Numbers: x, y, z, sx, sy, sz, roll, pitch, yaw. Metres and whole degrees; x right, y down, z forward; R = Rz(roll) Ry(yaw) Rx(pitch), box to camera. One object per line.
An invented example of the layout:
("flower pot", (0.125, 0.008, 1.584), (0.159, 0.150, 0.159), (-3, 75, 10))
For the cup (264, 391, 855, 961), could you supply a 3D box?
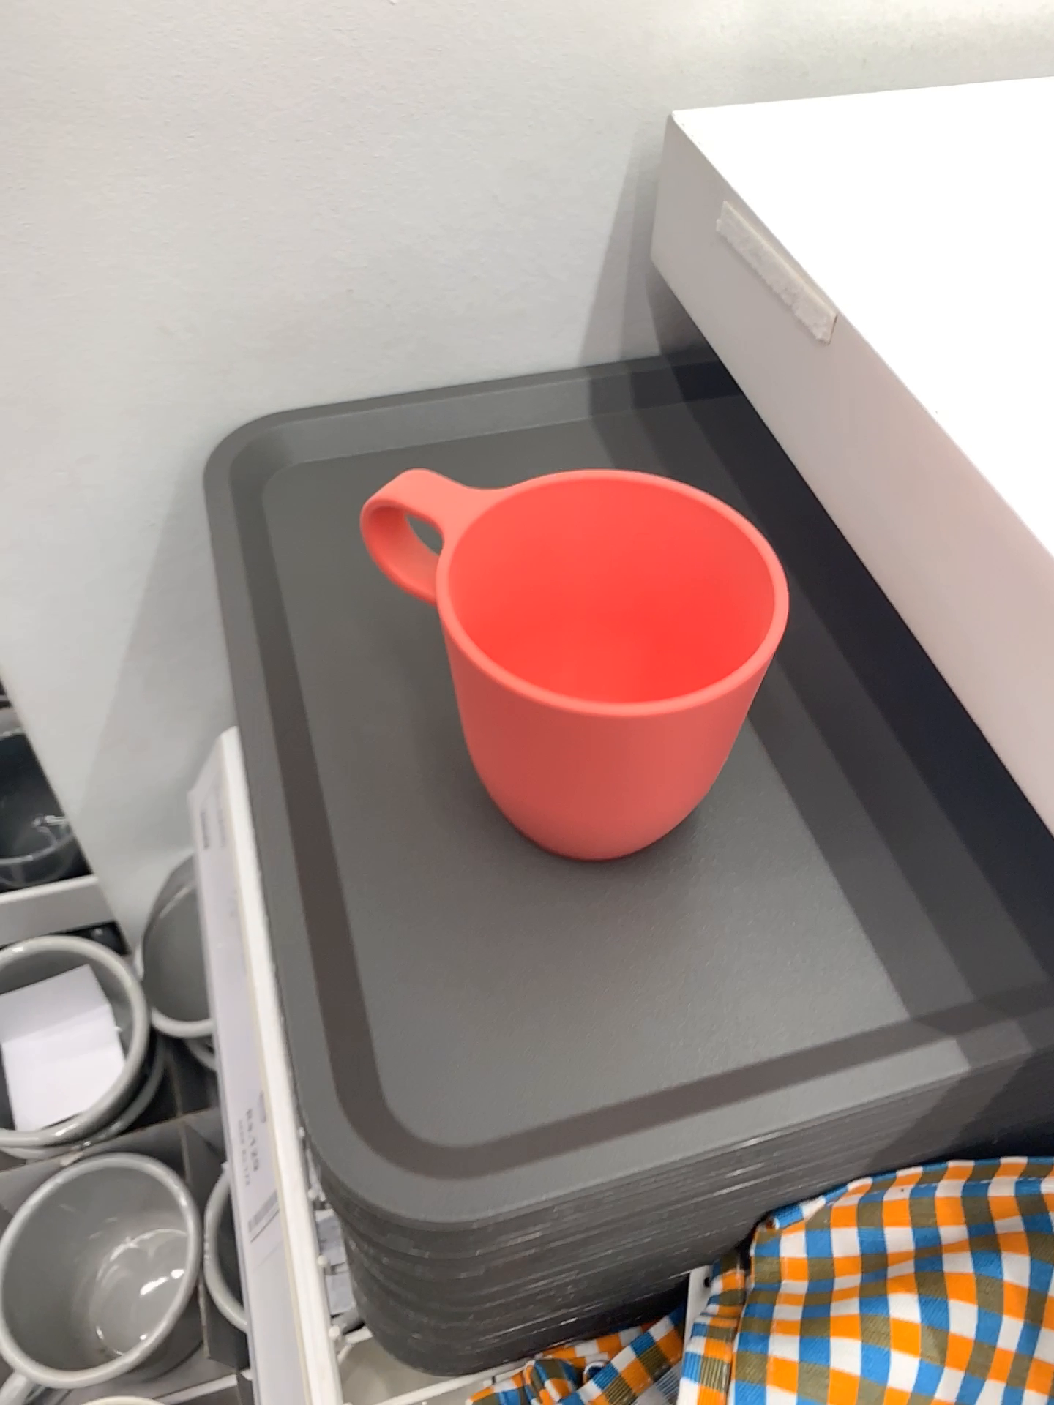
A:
("cup", (0.007, -0.008, 0.271), (0.110, 0.080, 0.070), (25, 53, 18))
